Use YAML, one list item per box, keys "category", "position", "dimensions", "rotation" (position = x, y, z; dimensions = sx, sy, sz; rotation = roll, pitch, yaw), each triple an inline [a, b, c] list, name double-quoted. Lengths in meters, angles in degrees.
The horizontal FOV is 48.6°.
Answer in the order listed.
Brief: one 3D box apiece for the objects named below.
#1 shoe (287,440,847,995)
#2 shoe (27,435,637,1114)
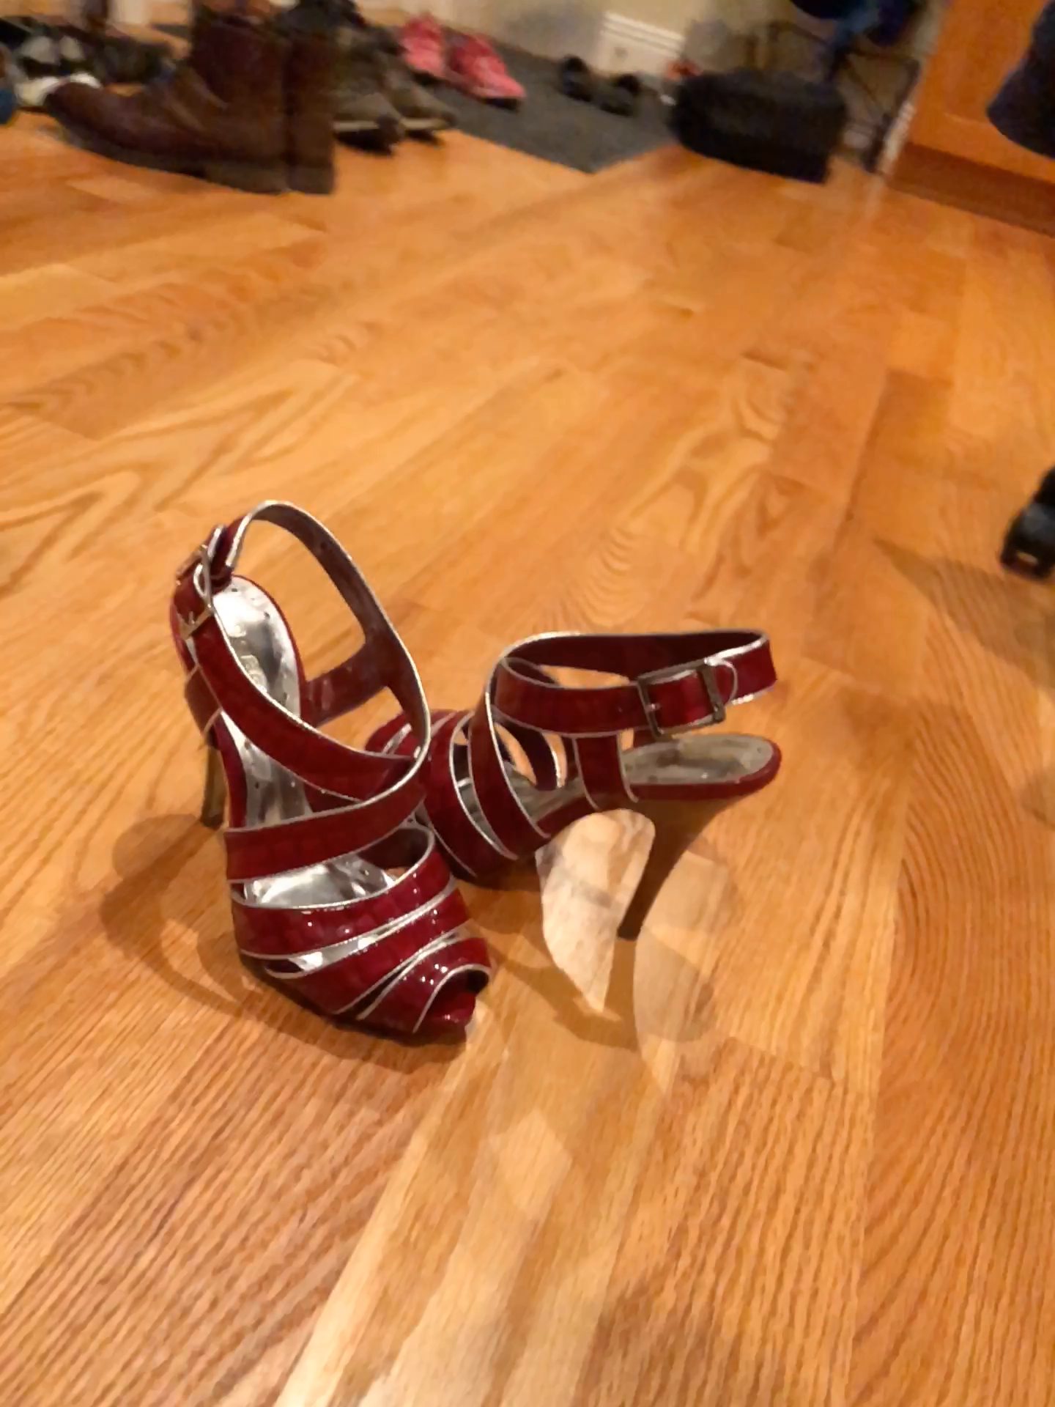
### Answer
- category: "shoe"
  position: [0.008, -0.001, 0.502]
  dimensions: [0.193, 0.141, 0.092]
  rotation: [30, 35, 20]
- category: "shoe"
  position: [-0.085, 0.017, 0.436]
  dimensions: [0.199, 0.151, 0.092]
  rotation: [32, 36, 23]
